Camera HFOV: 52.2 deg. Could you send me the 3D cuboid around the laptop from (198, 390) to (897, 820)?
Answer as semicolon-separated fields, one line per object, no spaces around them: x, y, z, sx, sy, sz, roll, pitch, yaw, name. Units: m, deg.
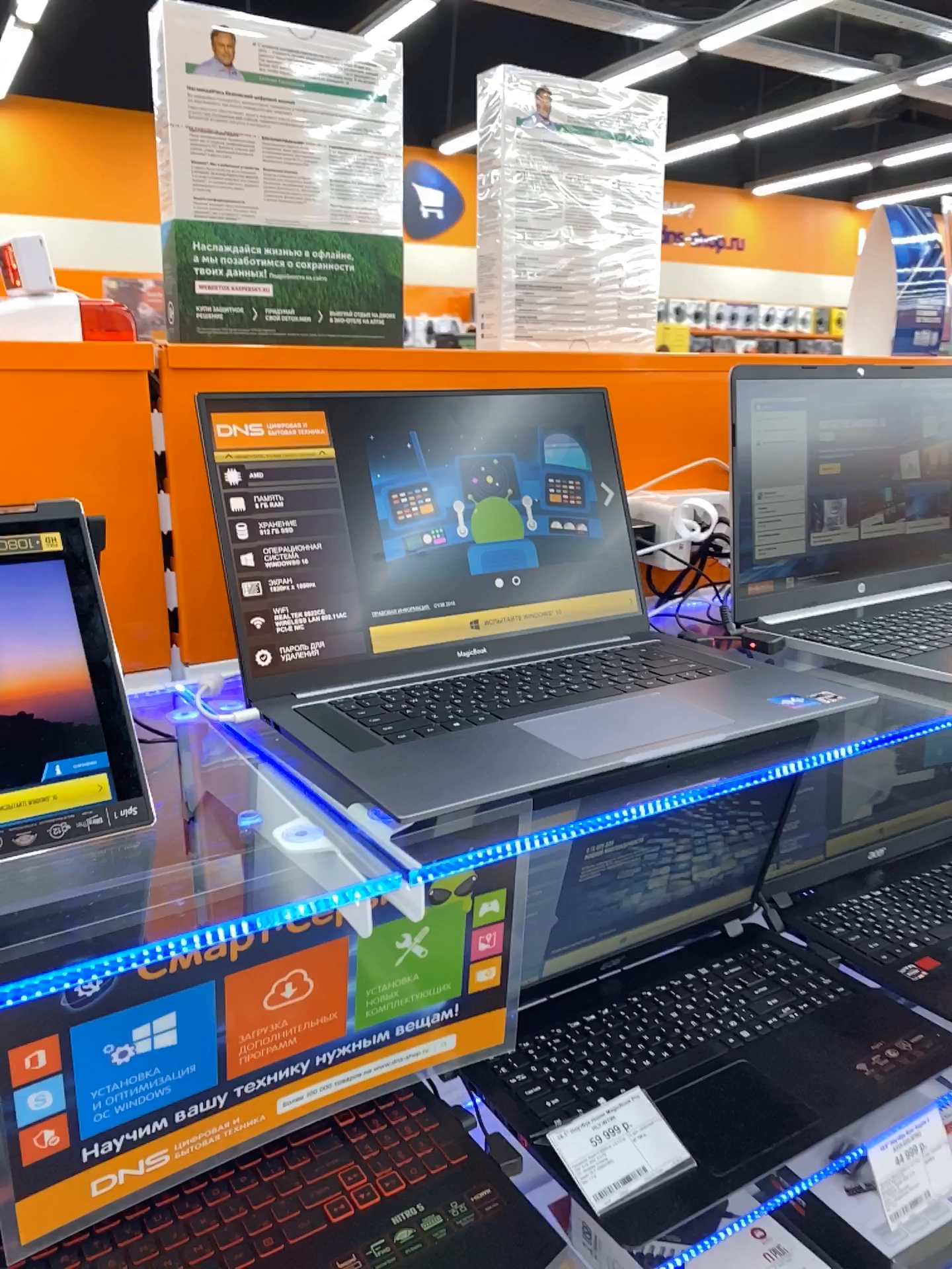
0.036;-0.065;0.691;0.368;0.207;0.315;-8;16;-30;laptop
